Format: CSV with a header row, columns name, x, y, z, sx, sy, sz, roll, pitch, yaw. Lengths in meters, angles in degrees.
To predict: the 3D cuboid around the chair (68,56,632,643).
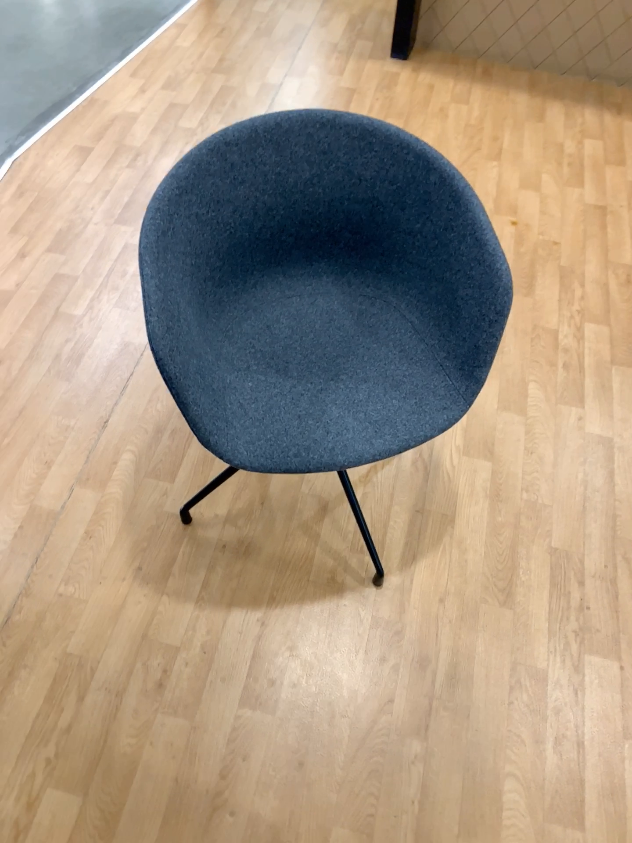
name,x,y,z,sx,sy,sz,roll,pitch,yaw
chair,0.001,-0.124,1.211,0.710,0.685,0.735,-10,56,-8
